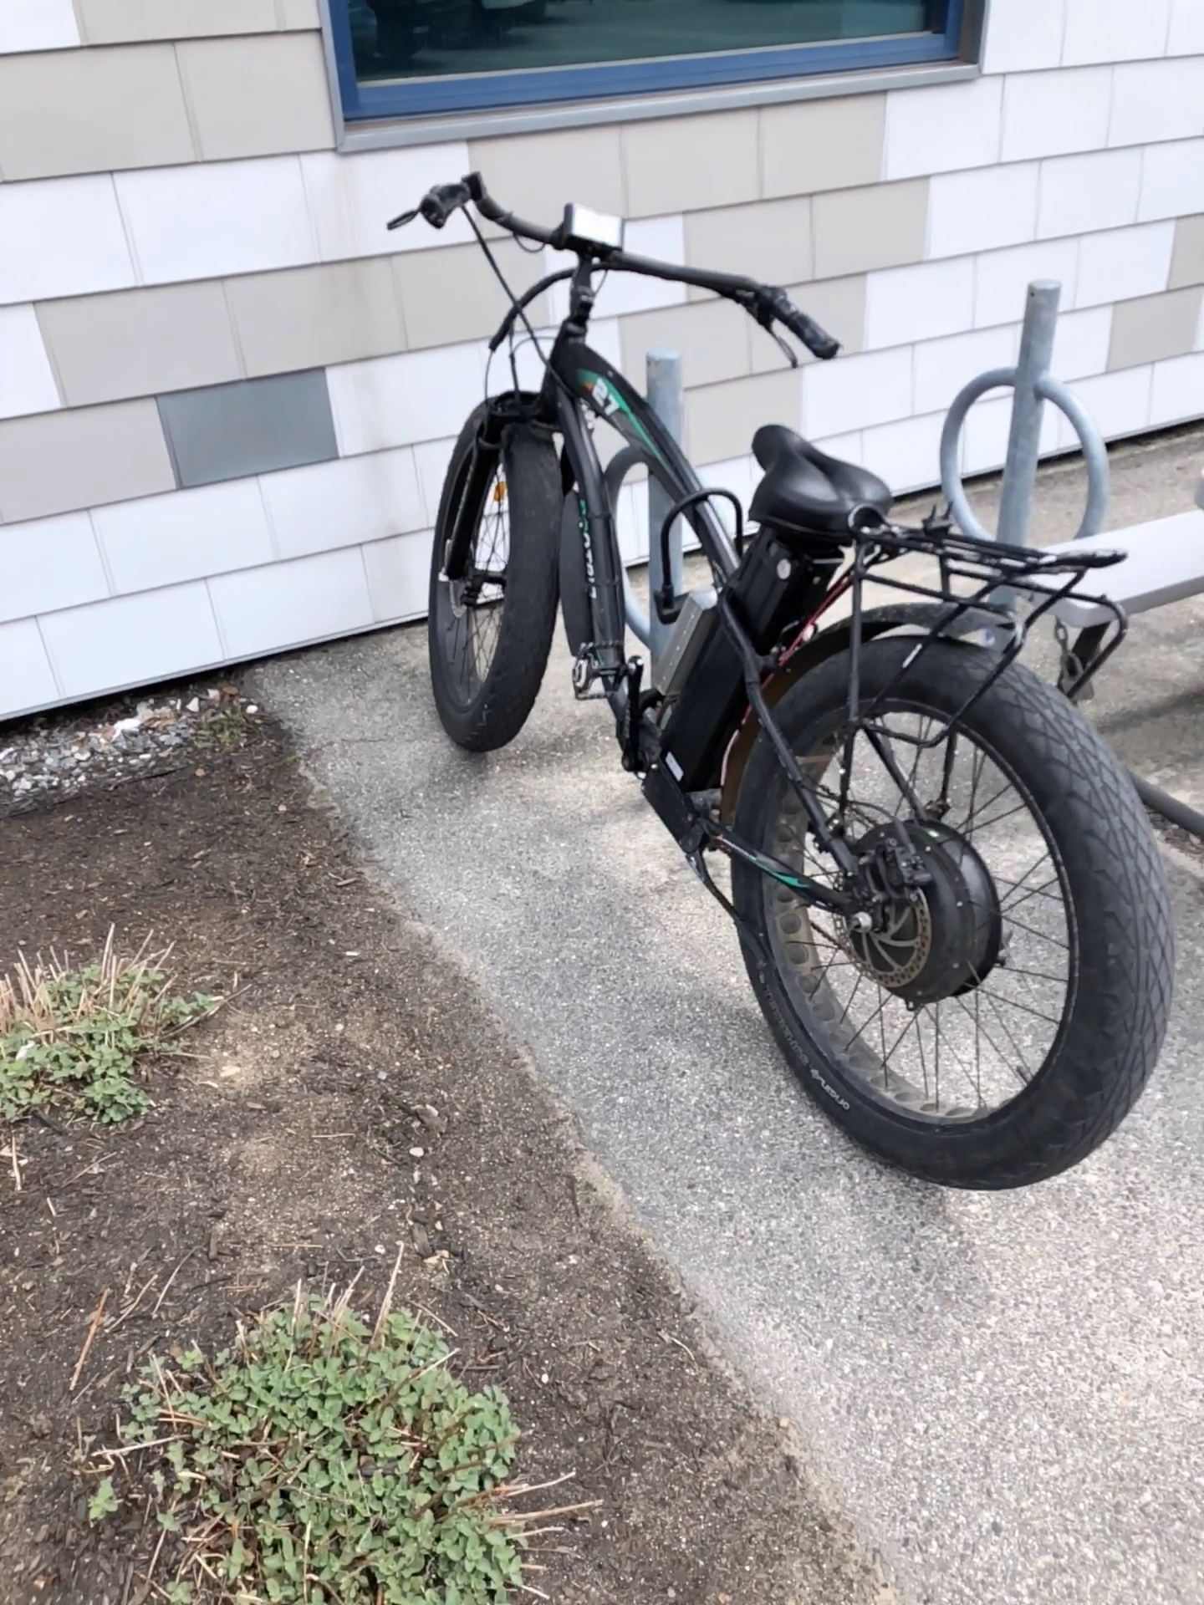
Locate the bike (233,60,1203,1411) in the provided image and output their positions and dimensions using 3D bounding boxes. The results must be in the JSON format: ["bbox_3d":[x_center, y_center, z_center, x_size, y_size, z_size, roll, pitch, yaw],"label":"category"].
[{"bbox_3d":[0.228,-0.373,2.071,0.912,1.132,1.867,-18,39,-21],"label":"bike"}]
